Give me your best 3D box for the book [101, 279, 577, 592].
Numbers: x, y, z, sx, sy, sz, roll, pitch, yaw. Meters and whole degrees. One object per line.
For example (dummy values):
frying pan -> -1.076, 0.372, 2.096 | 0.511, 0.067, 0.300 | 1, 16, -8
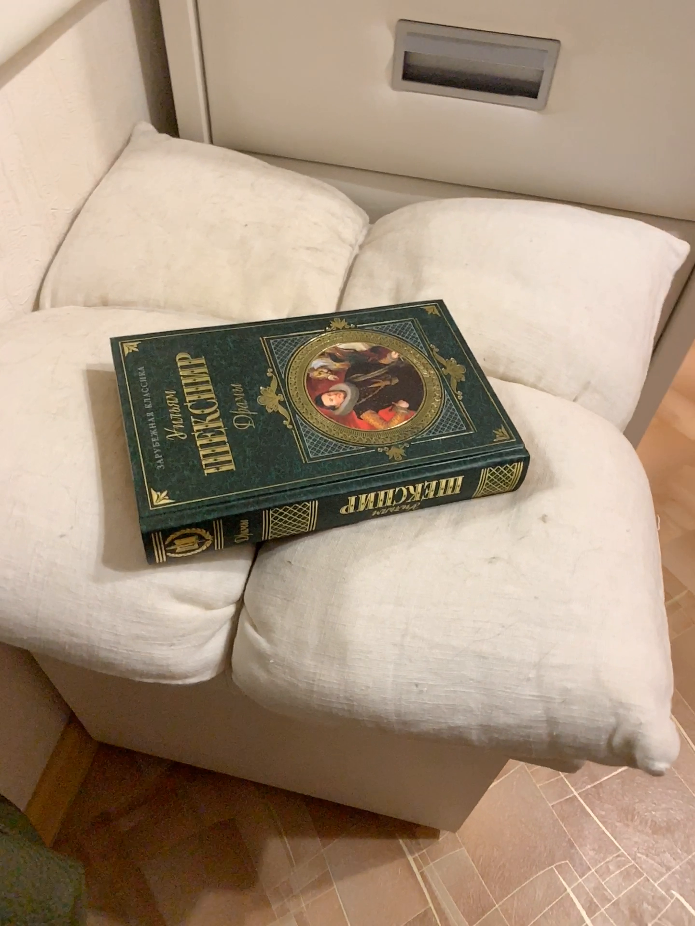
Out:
book -> -0.011, -0.028, 0.394 | 0.220, 0.040, 0.151 | -10, 54, -16
